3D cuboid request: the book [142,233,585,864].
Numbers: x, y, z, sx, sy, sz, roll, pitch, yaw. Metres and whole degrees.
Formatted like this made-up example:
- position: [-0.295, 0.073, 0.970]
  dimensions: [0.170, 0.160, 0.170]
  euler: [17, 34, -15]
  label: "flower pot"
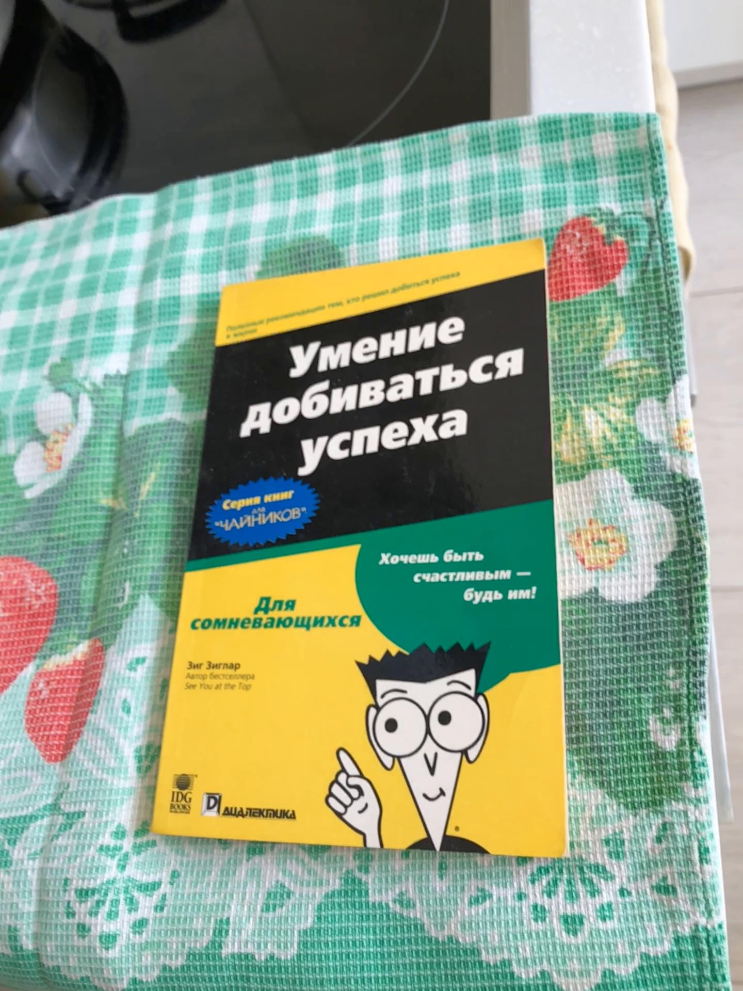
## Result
- position: [0.000, 0.009, 0.241]
  dimensions: [0.113, 0.017, 0.172]
  euler: [-4, 68, 18]
  label: "book"
